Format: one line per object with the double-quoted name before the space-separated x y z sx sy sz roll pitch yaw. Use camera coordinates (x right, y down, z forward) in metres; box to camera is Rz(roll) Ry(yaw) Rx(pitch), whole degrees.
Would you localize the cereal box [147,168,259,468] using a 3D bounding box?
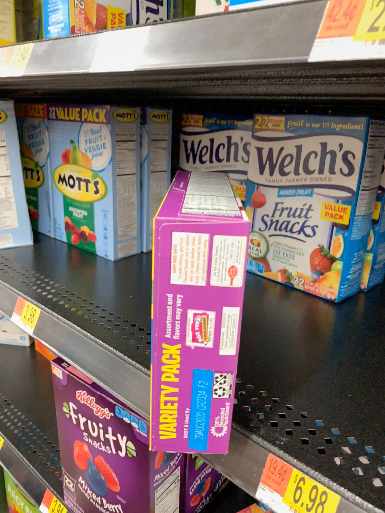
"cereal box" 0.004 0.025 0.347 0.060 0.169 0.221 3 20 0
